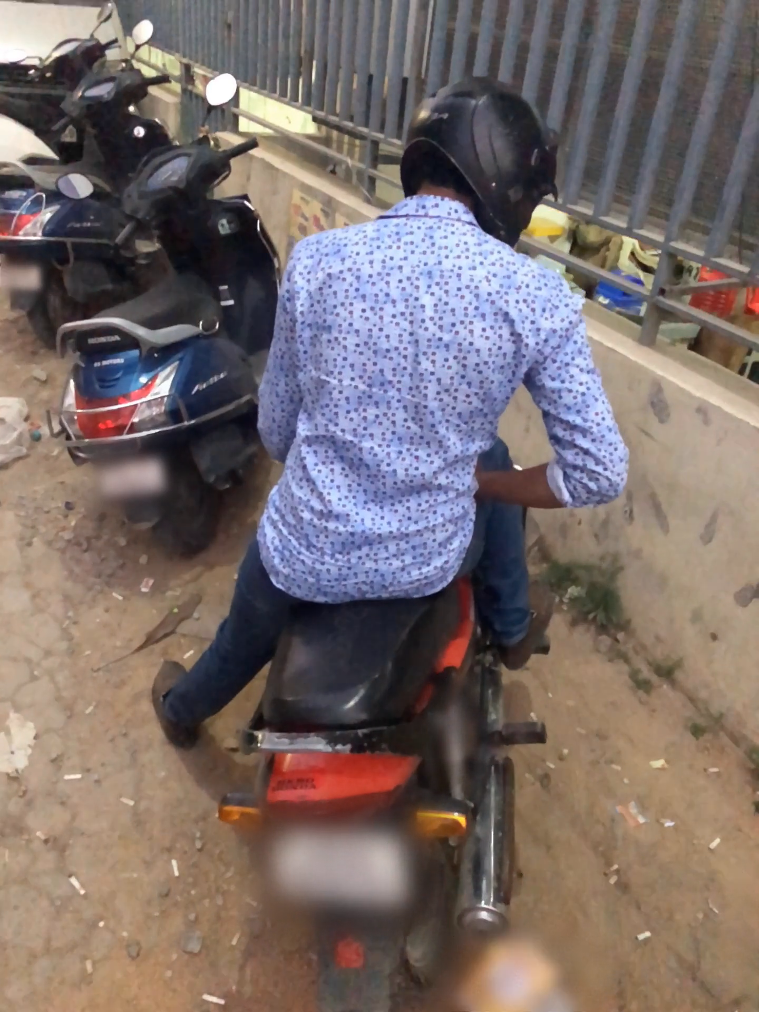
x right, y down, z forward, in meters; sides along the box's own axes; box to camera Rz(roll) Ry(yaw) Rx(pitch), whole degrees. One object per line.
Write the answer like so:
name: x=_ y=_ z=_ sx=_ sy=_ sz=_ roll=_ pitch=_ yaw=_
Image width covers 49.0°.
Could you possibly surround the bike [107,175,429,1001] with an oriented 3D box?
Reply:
bike: x=-0.206 y=-0.034 z=1.939 sx=0.424 sy=0.830 sz=1.661 roll=5 pitch=37 yaw=-4
